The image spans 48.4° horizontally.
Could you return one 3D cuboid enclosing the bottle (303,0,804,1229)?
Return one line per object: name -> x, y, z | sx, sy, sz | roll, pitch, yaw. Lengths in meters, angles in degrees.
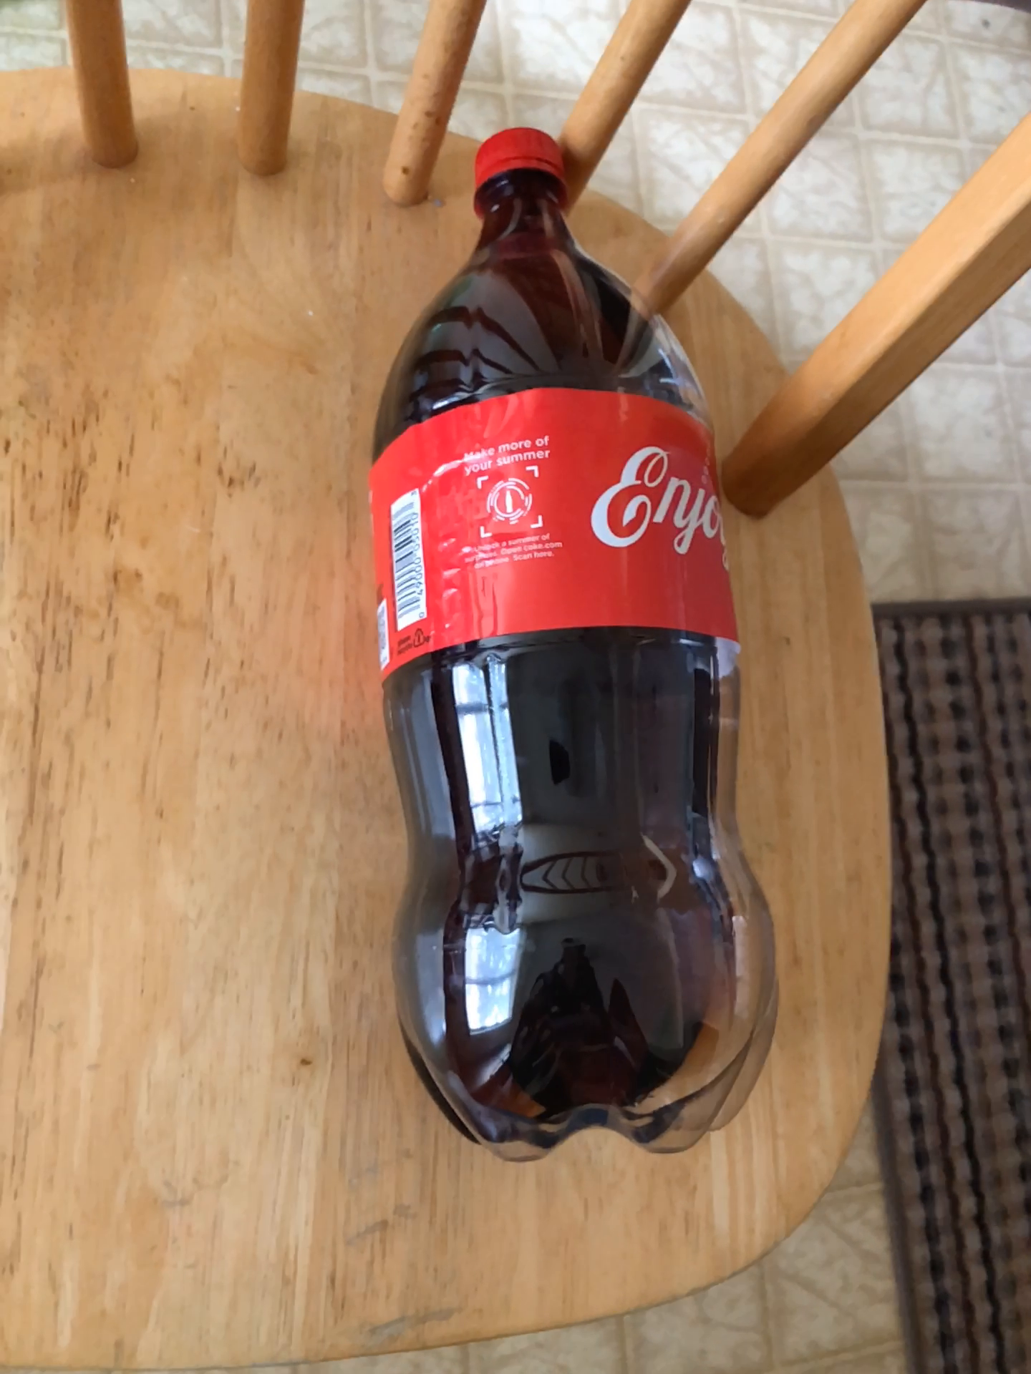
bottle -> 0.014, -0.028, 0.340 | 0.100, 0.120, 0.320 | -6, 79, 18
